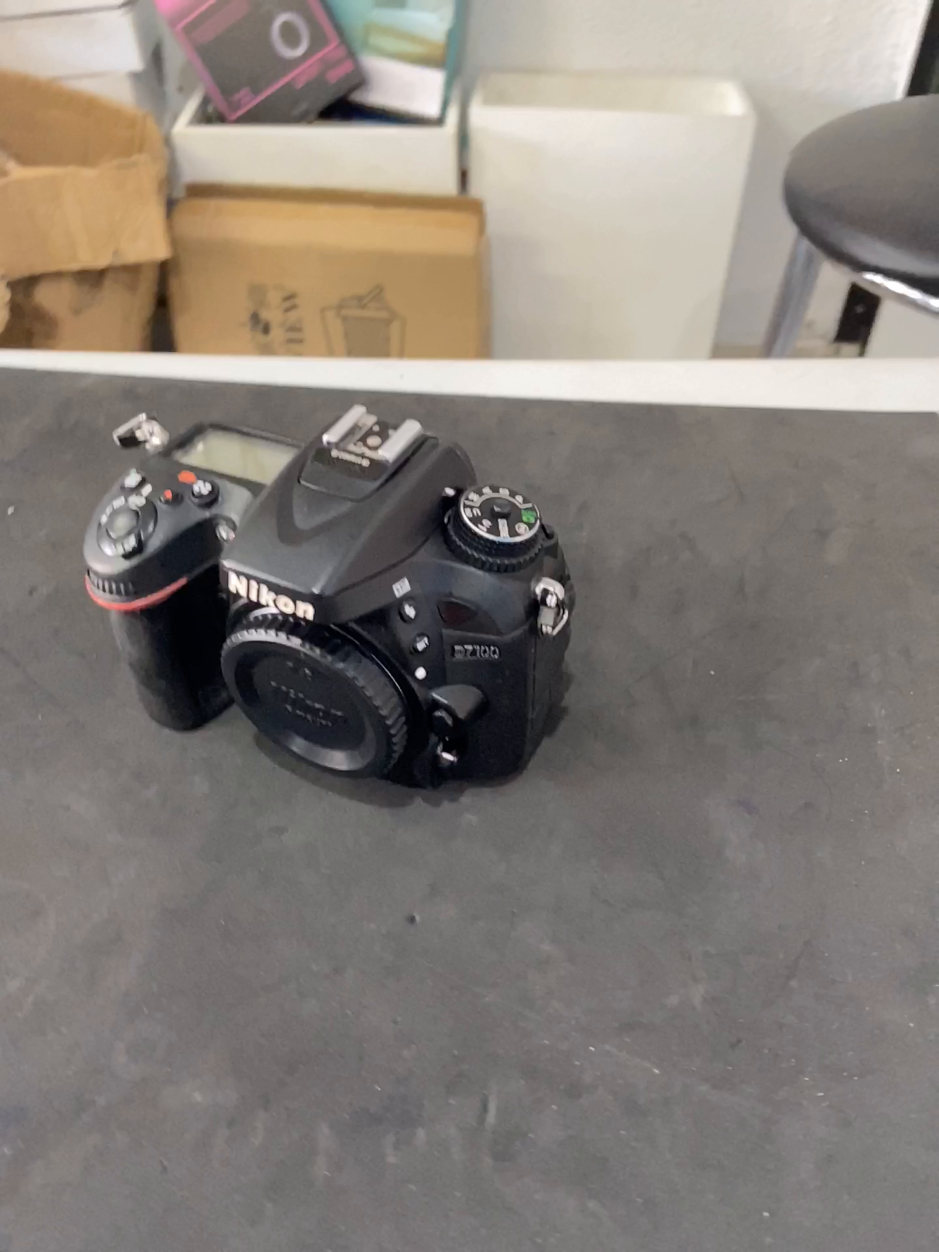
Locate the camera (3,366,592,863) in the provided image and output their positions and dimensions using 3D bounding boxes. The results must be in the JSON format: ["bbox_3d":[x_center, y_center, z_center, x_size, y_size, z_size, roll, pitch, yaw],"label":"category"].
[{"bbox_3d":[-0.044,-0.007,0.298,0.140,0.092,0.078,16,47,17],"label":"camera"}]
